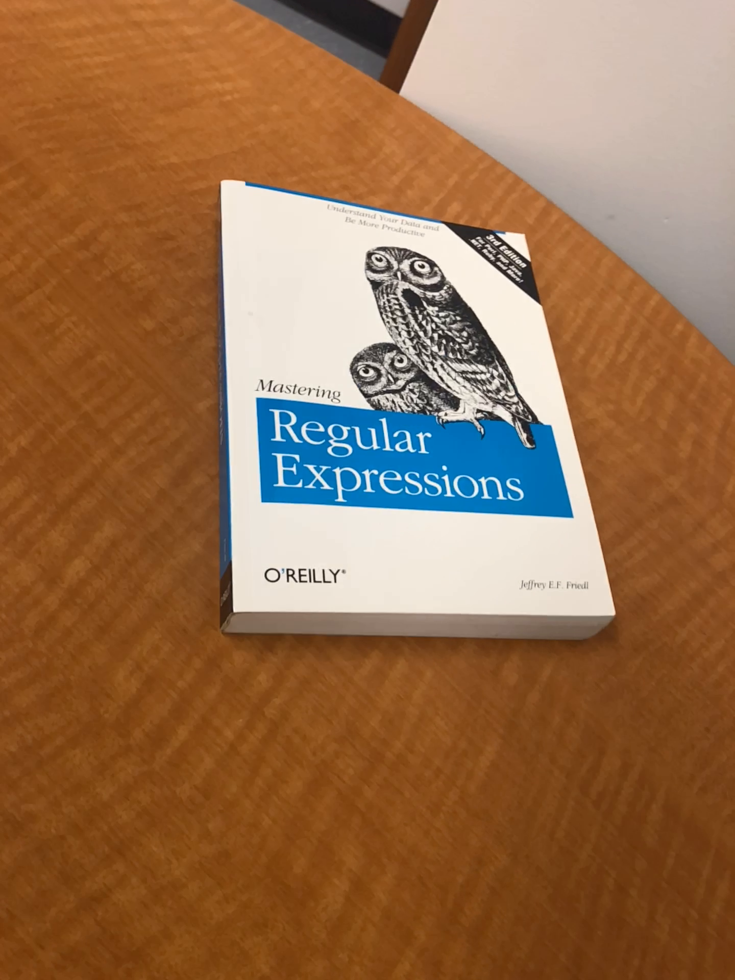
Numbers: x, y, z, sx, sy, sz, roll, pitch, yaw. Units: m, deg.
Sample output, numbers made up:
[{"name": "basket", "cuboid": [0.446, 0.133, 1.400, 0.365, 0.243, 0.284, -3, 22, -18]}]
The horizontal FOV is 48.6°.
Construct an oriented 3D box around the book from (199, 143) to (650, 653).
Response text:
[{"name": "book", "cuboid": [0.018, -0.050, 0.418, 0.200, 0.040, 0.261, 5, 61, -20]}]
